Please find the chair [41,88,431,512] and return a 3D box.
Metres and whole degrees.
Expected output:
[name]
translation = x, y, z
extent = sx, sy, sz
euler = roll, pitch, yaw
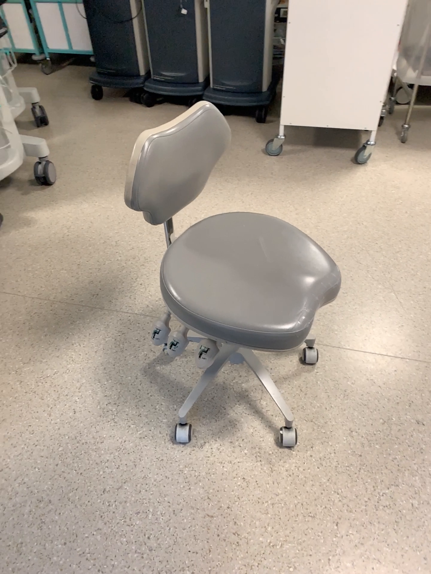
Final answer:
[chair]
translation = 0.078, 0.031, 1.213
extent = 0.602, 0.822, 0.604
euler = 25, 51, 25
